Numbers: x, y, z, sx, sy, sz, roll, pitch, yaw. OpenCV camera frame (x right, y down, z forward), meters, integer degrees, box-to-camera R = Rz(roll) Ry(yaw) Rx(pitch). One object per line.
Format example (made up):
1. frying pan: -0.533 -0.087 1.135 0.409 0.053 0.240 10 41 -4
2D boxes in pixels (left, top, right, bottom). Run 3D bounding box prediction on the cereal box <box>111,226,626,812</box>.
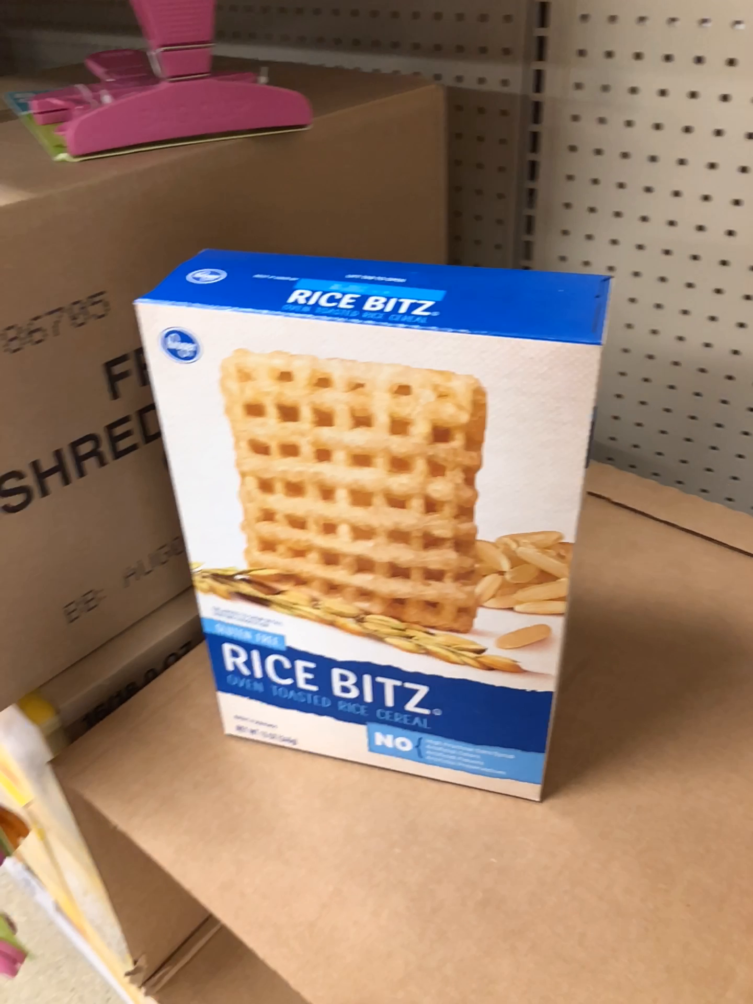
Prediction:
1. cereal box: 0.004 0.020 0.426 0.200 0.289 0.070 8 37 15
